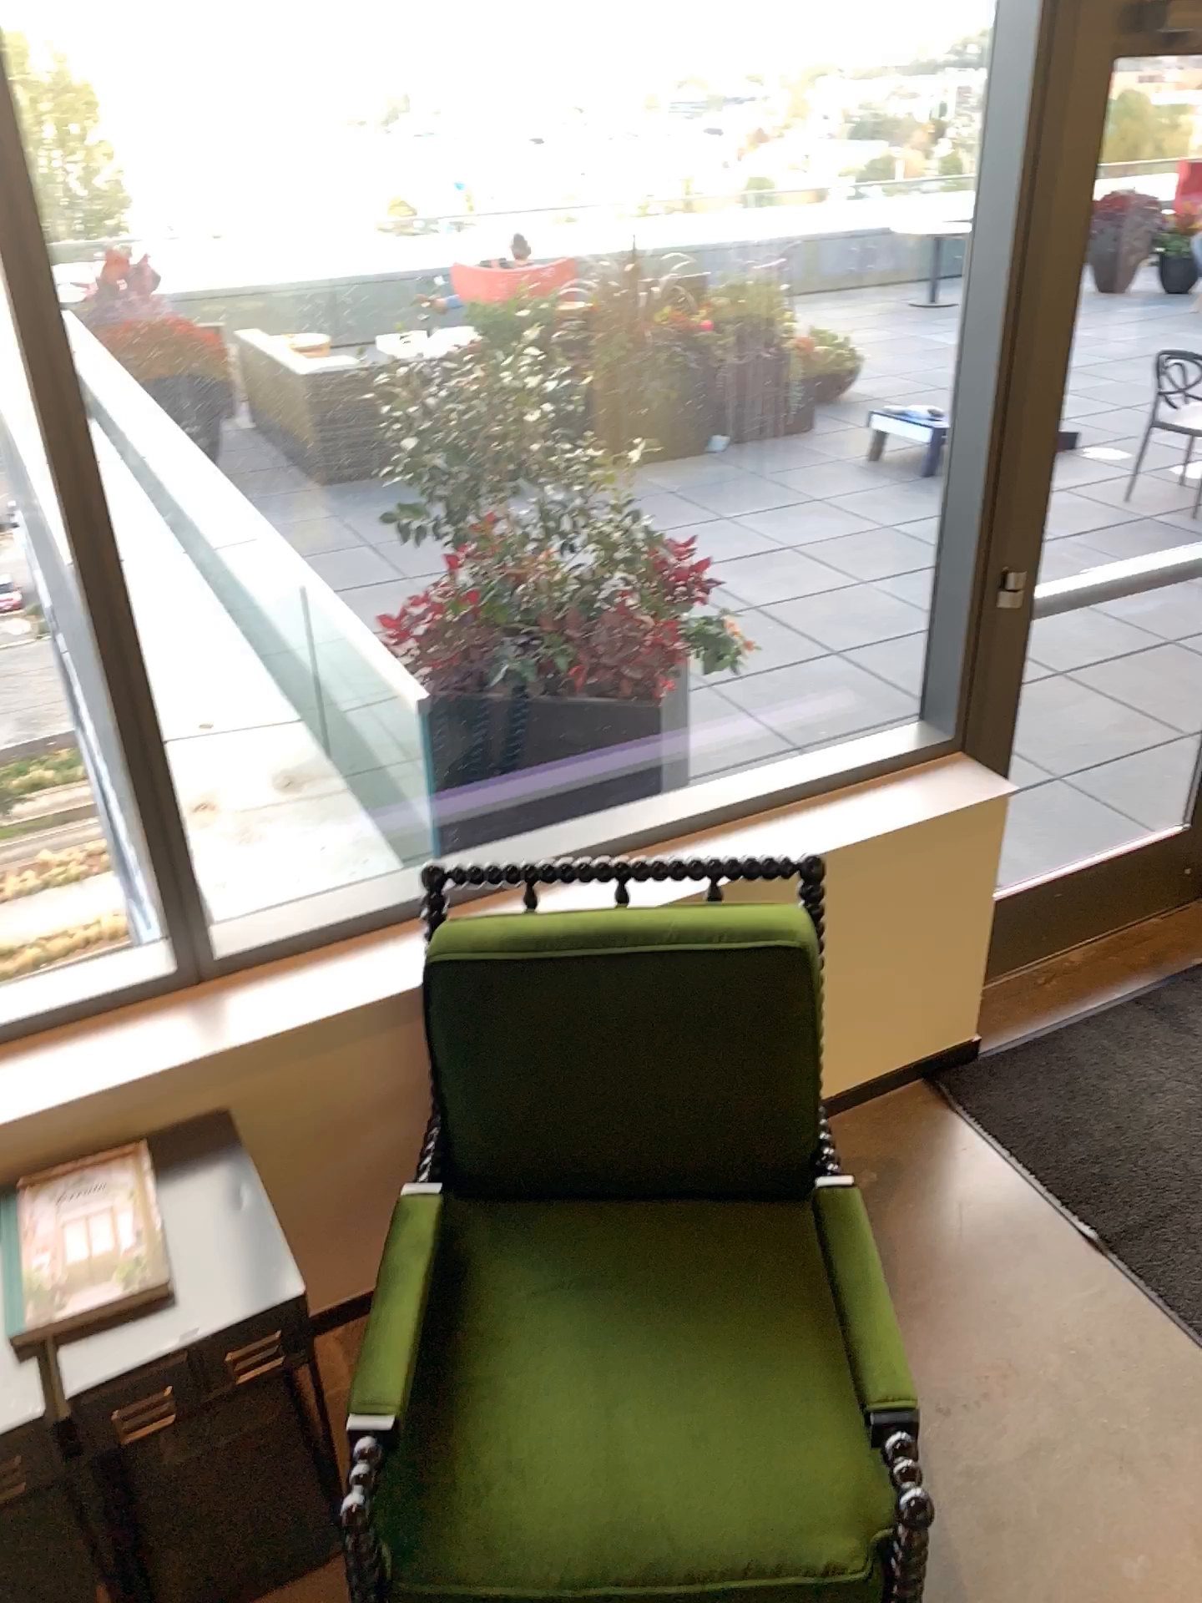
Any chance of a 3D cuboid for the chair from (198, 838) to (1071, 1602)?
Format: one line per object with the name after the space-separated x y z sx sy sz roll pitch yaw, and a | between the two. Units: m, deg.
0.051 0.708 1.859 0.870 0.924 0.946 -1 30 2 | chair
